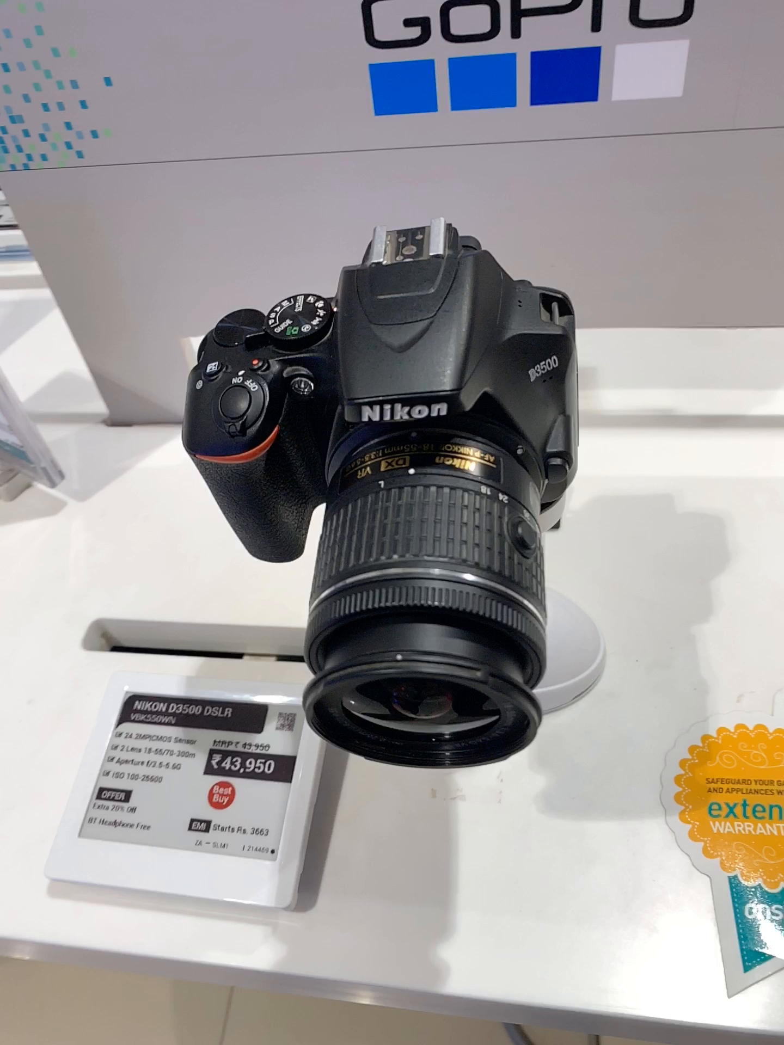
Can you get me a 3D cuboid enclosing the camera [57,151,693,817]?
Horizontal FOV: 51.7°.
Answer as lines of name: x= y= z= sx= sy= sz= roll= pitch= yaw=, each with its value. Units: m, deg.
camera: x=0.004 y=-0.018 z=0.243 sx=0.120 sy=0.090 sz=0.180 roll=-3 pitch=50 yaw=7
